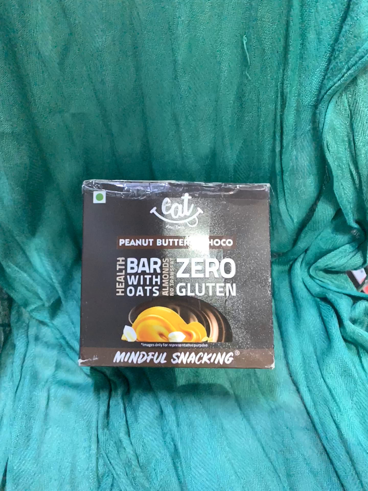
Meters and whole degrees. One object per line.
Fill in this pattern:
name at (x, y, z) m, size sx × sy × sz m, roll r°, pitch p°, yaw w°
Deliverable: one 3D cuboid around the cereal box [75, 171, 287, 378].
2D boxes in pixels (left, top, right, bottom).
cereal box at (-0.001, 0.023, 0.305) m, size 0.140 × 0.090 × 0.140 m, roll 0°, pitch 82°, yaw 2°
